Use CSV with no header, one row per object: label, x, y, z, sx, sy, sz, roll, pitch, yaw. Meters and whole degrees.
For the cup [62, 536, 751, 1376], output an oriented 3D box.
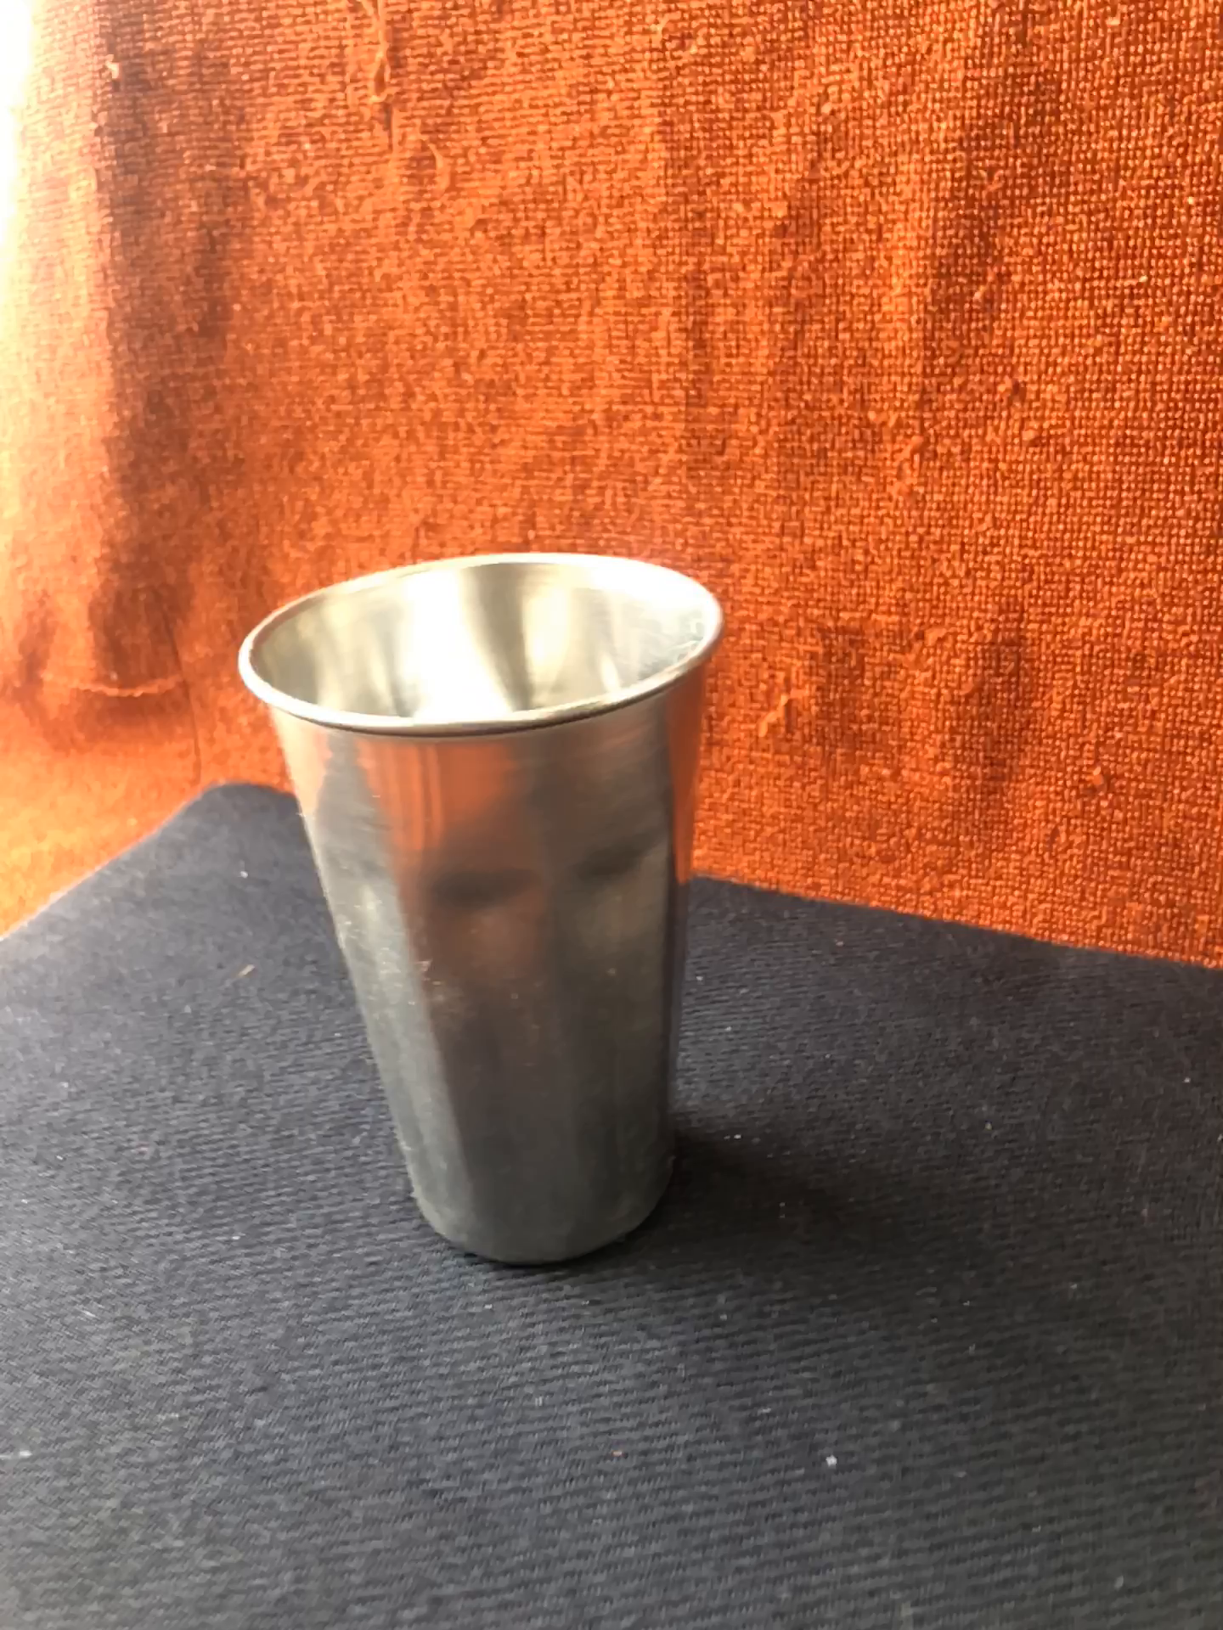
cup,-0.023,0.016,0.216,0.070,0.100,0.070,-3,27,2
